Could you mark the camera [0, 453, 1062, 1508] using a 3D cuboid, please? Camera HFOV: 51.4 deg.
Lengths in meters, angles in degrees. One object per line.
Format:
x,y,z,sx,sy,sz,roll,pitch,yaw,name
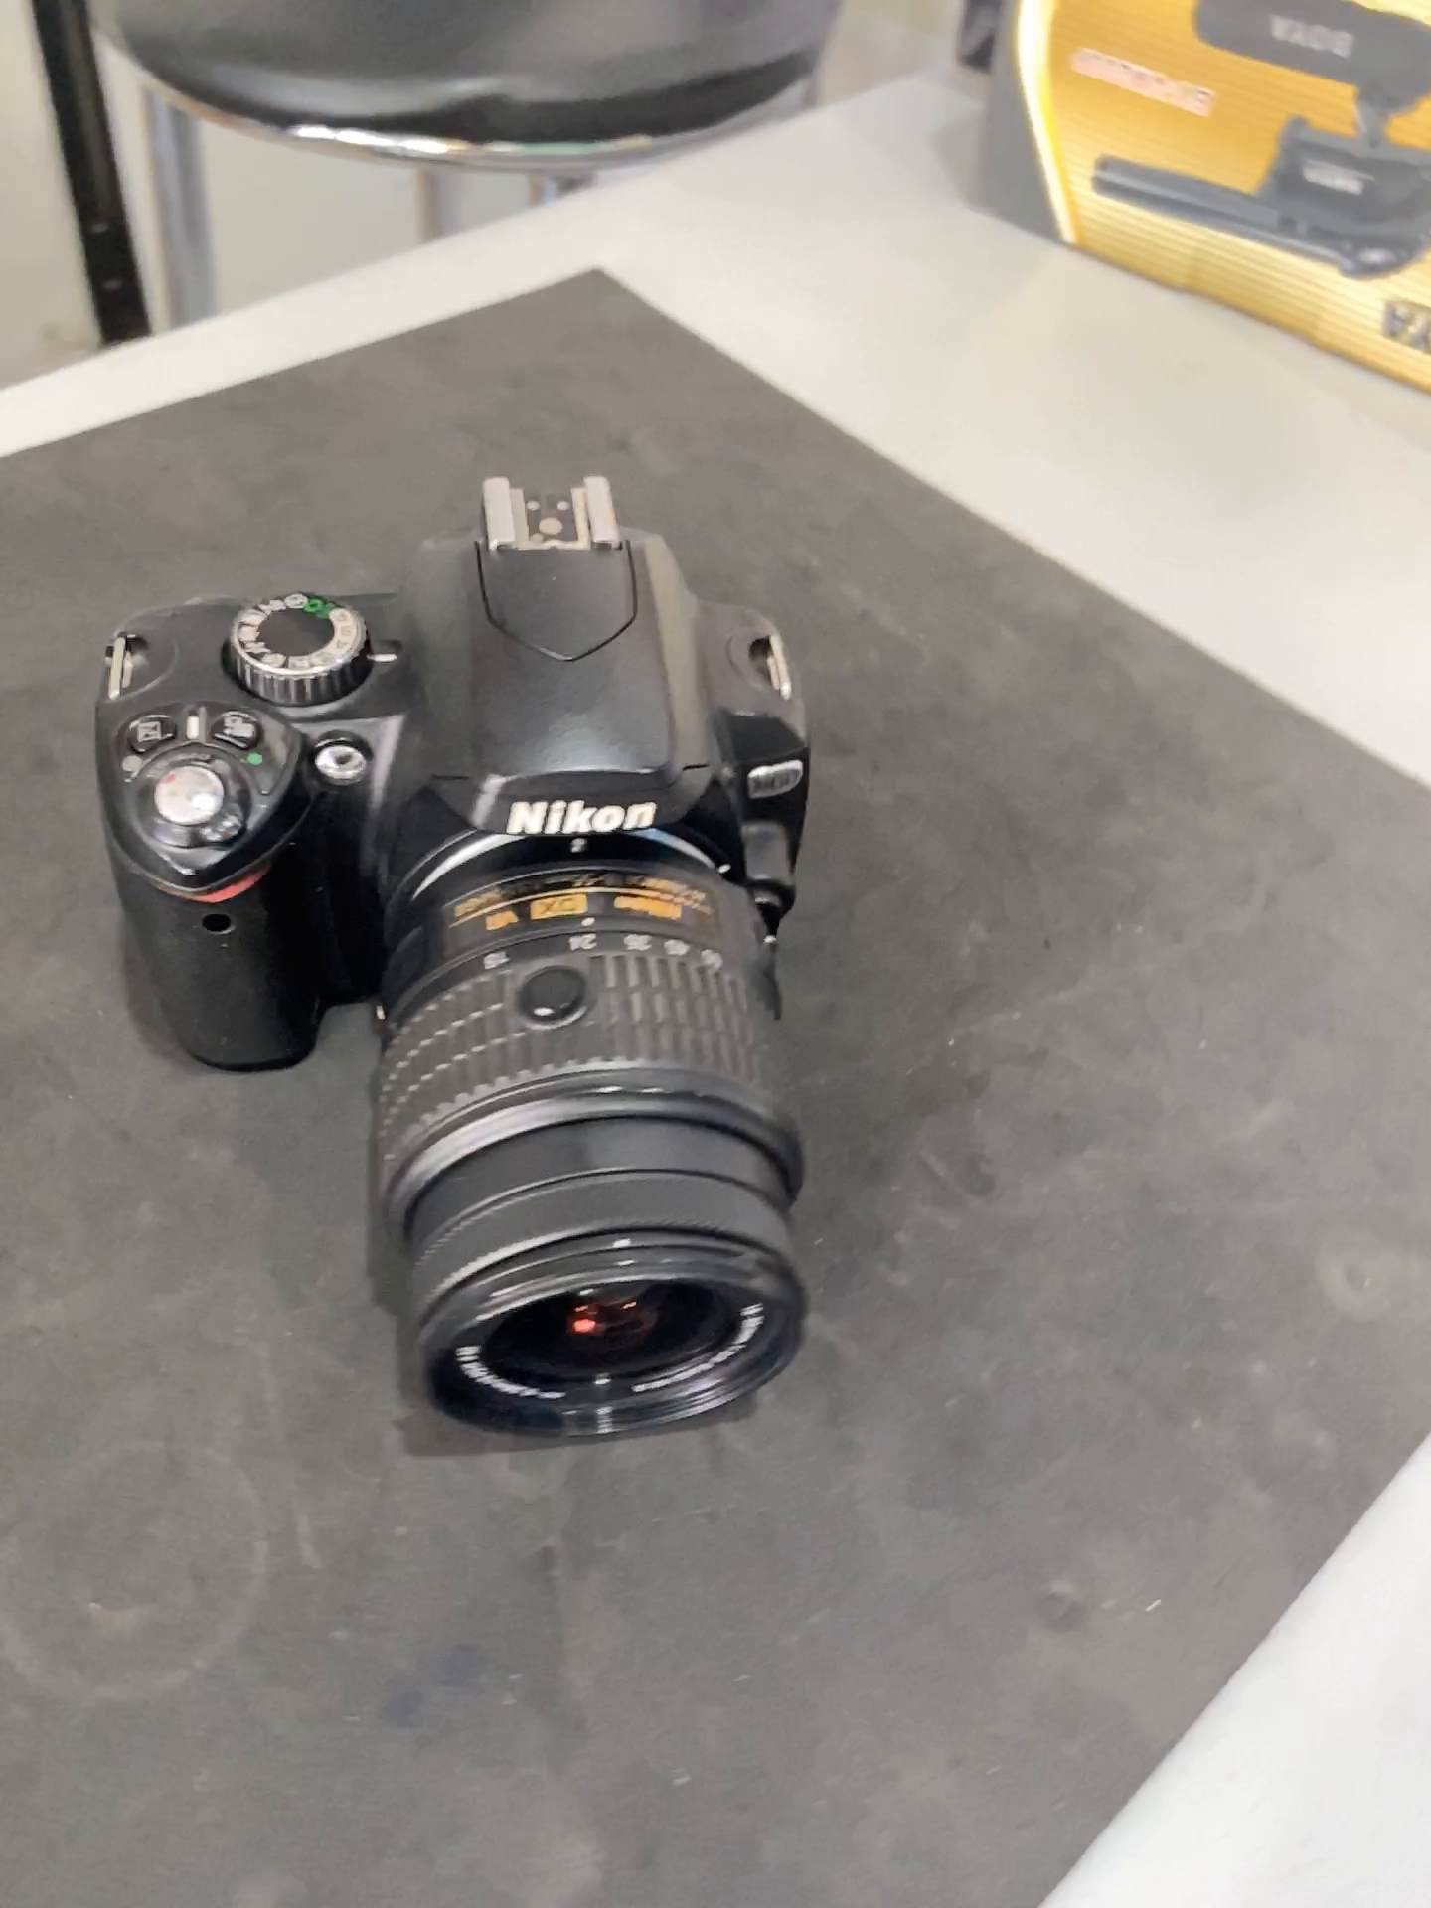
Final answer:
-0.036,-0.002,0.249,0.129,0.088,0.141,-5,53,-10,camera
